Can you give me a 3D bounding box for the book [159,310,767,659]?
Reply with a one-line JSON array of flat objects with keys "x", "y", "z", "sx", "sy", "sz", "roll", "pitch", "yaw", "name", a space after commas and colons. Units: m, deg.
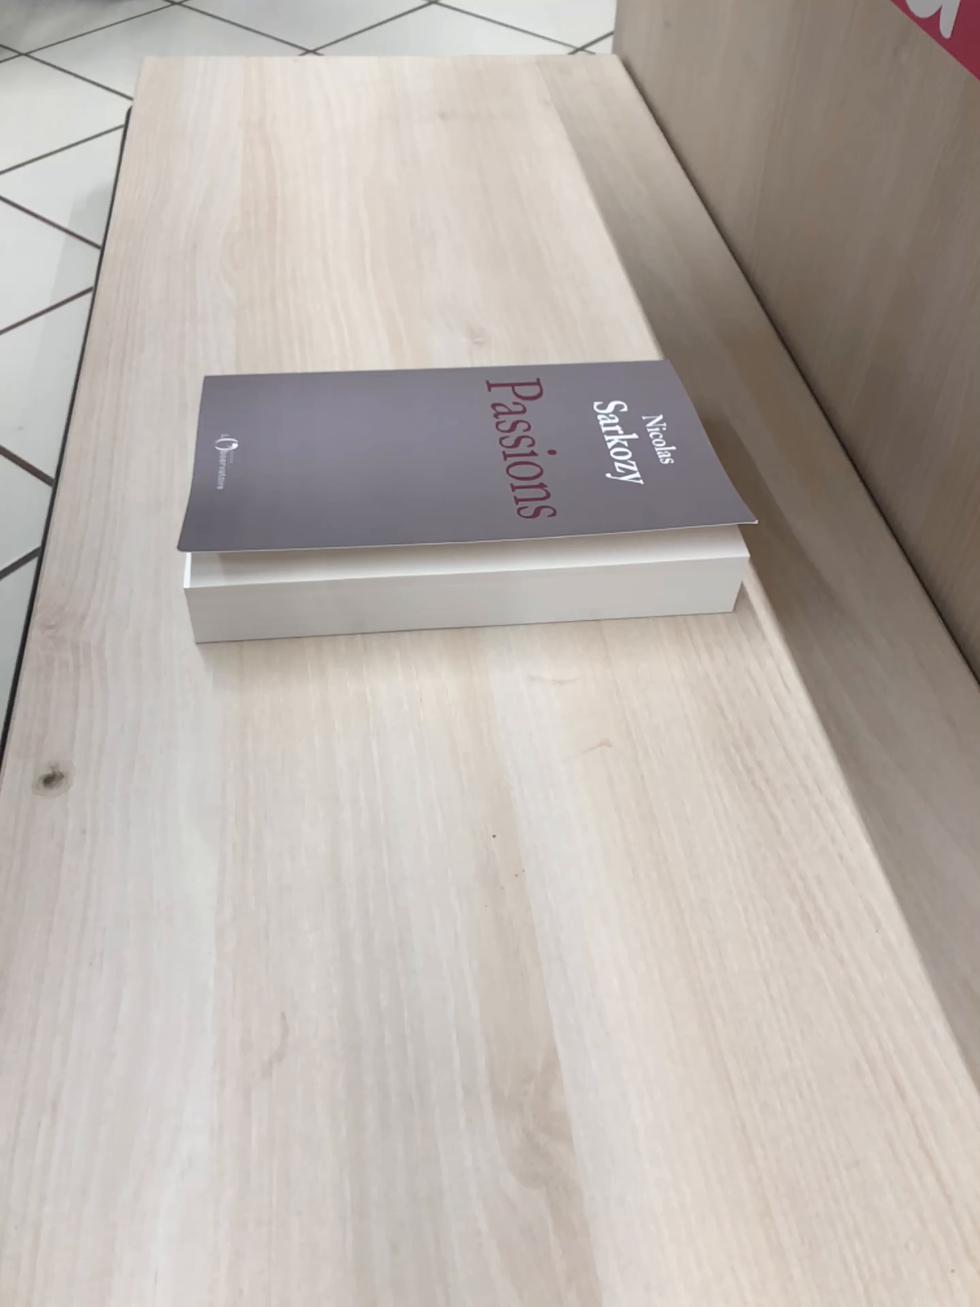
[{"x": -0.017, "y": -0.080, "z": 0.463, "sx": 0.224, "sy": 0.044, "sz": 0.157, "roll": -5, "pitch": 49, "yaw": -6, "name": "book"}]
